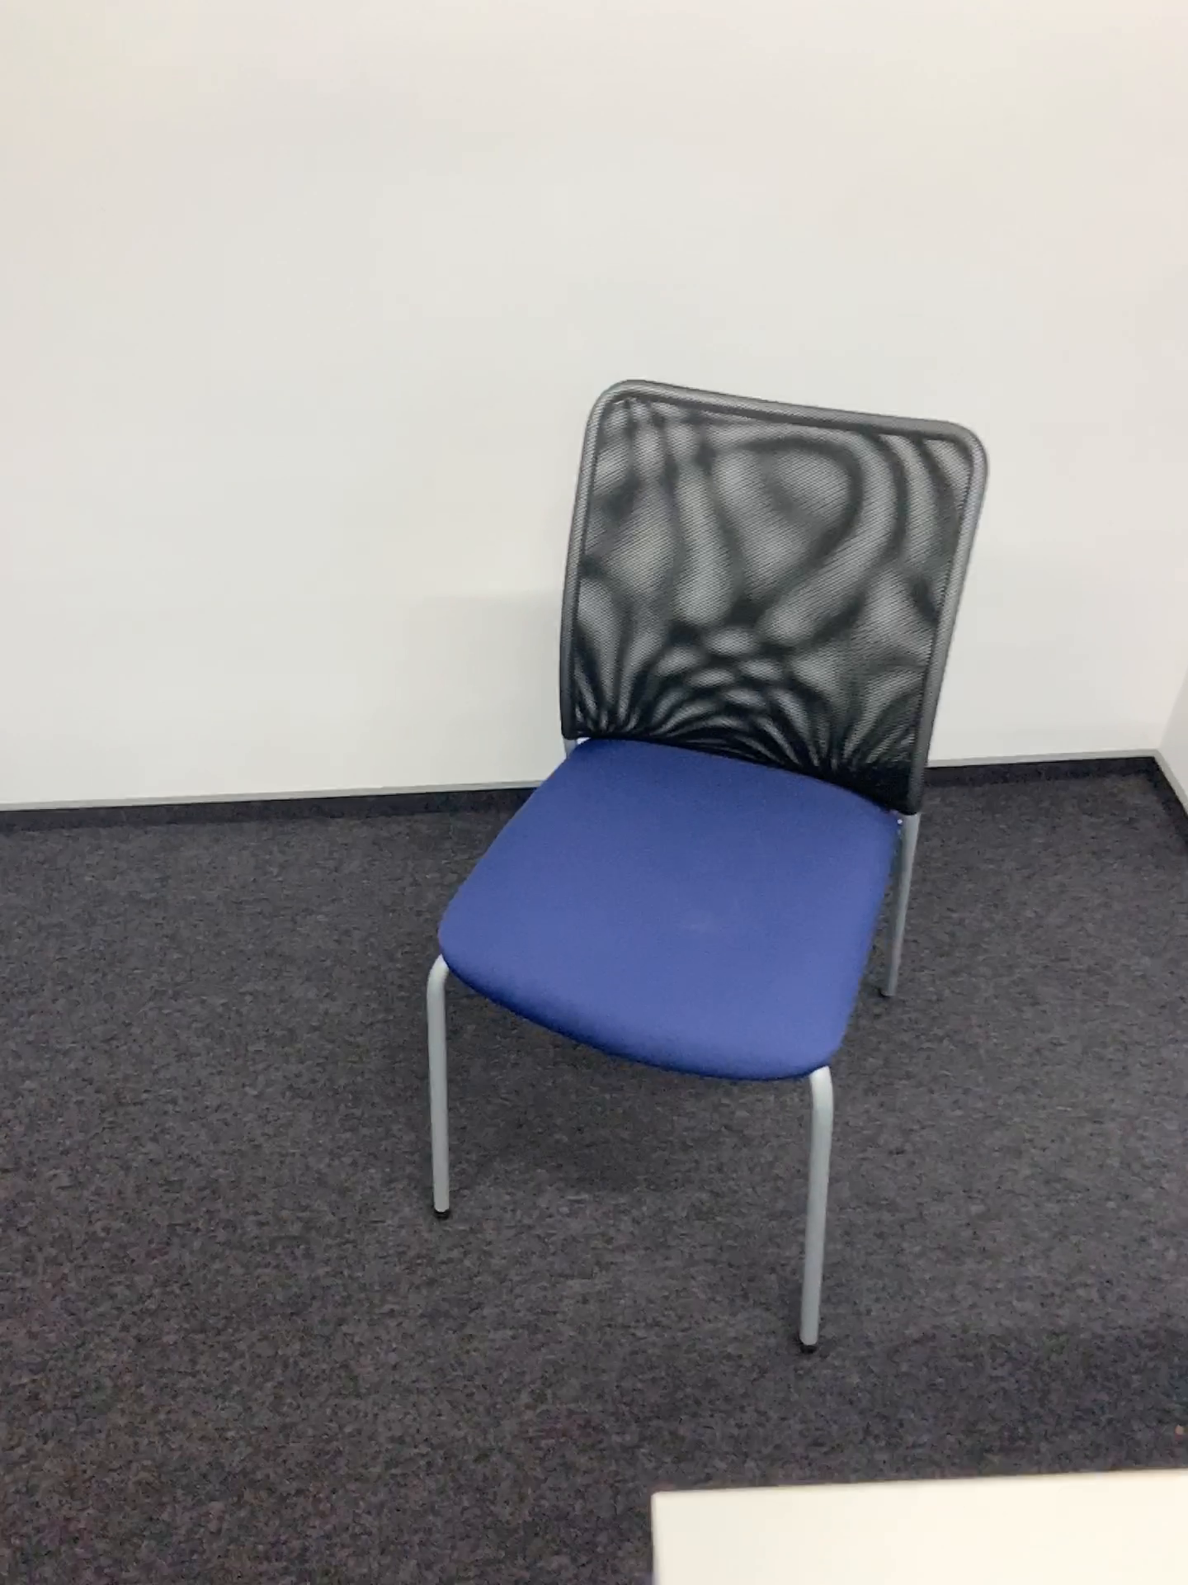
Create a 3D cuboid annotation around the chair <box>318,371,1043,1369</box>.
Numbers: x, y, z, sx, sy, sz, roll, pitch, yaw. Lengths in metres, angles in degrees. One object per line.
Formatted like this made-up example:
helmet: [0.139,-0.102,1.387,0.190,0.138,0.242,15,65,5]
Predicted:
chair: [0.126,0.086,1.380,0.490,0.865,0.593,14,42,18]
